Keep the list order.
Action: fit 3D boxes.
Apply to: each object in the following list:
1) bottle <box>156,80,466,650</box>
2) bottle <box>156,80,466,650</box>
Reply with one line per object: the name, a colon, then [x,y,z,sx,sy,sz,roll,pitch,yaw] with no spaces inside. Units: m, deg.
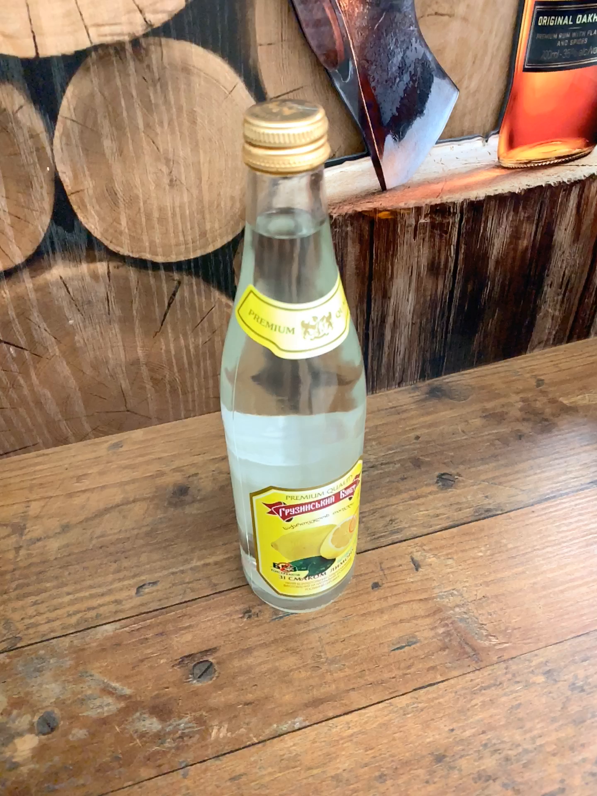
bottle: [0.001,0.005,0.246,0.070,0.219,0.070,-1,41,1]
bottle: [0.001,0.005,0.246,0.070,0.219,0.070,-1,41,1]
